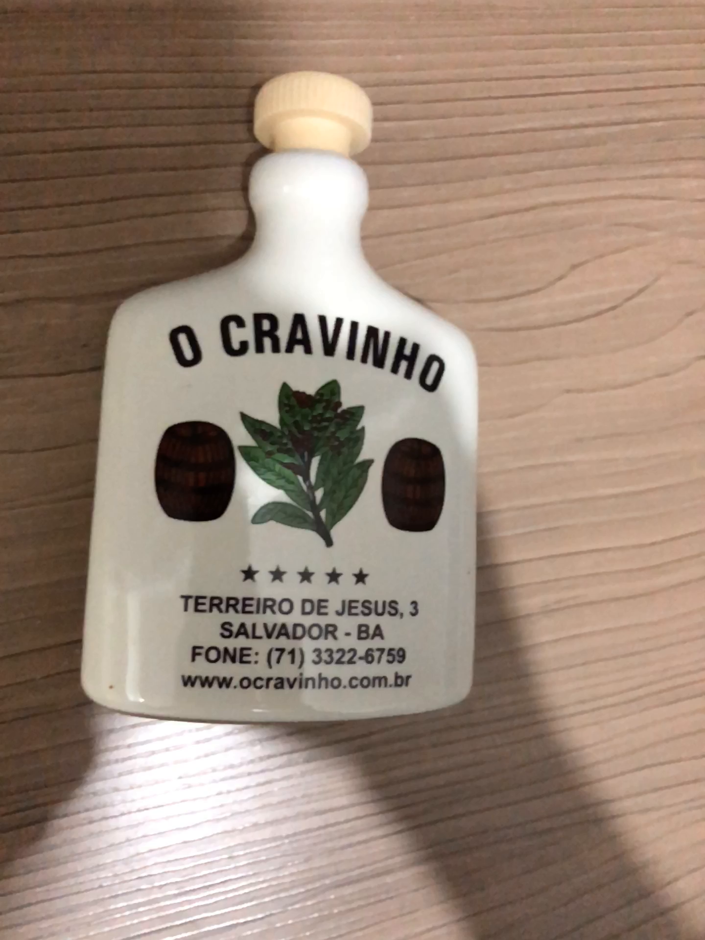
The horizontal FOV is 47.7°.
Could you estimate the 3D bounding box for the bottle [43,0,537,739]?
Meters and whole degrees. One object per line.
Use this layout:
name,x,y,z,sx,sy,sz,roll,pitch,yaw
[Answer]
bottle,-0.015,-0.023,0.192,0.100,0.040,0.160,3,90,-14
